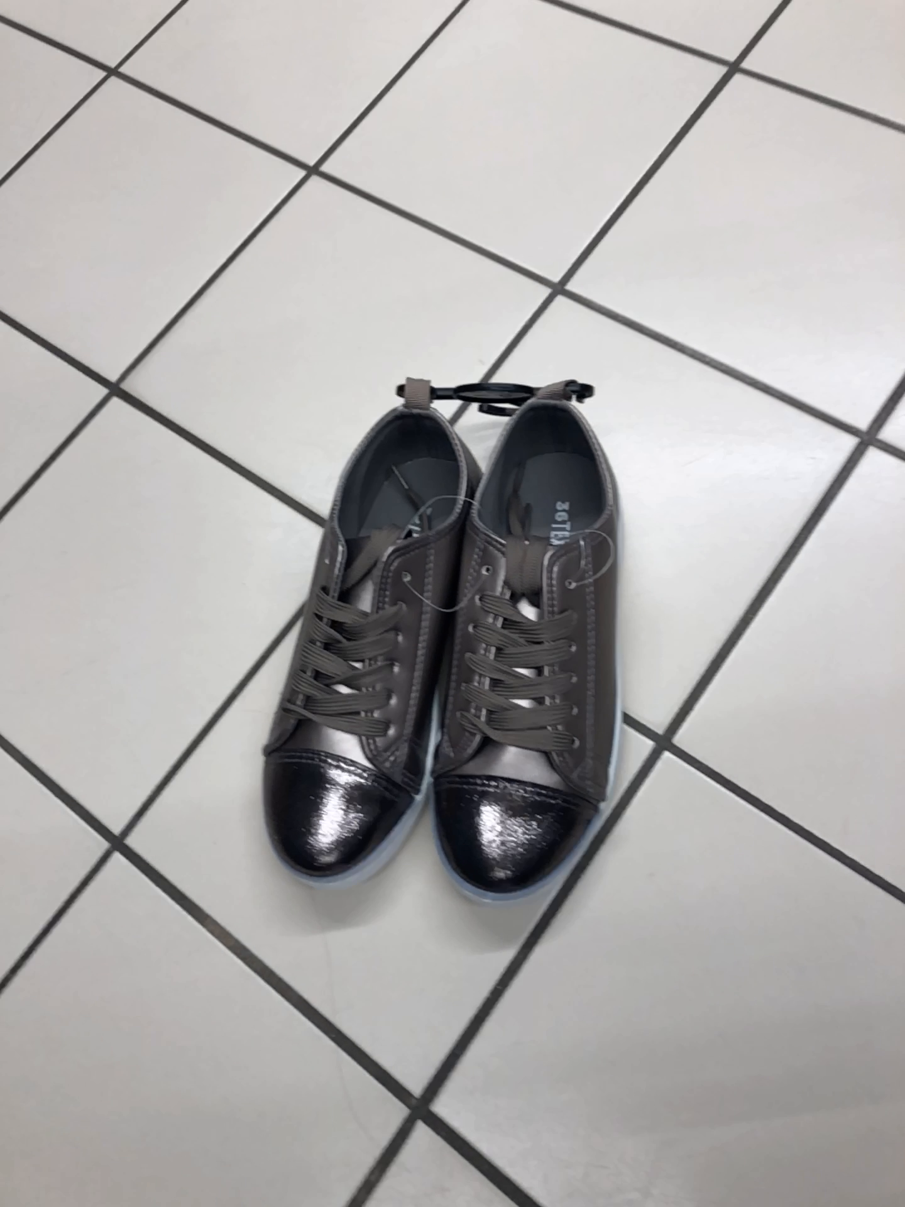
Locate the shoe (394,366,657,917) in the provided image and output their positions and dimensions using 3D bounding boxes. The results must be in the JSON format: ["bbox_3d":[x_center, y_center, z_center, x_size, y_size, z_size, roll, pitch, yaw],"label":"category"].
[{"bbox_3d":[0.043,0.013,0.468,0.090,0.080,0.241,3,69,11],"label":"shoe"}]

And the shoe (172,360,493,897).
[{"bbox_3d":[-0.047,0.008,0.483,0.090,0.080,0.241,5,69,12],"label":"shoe"}]
